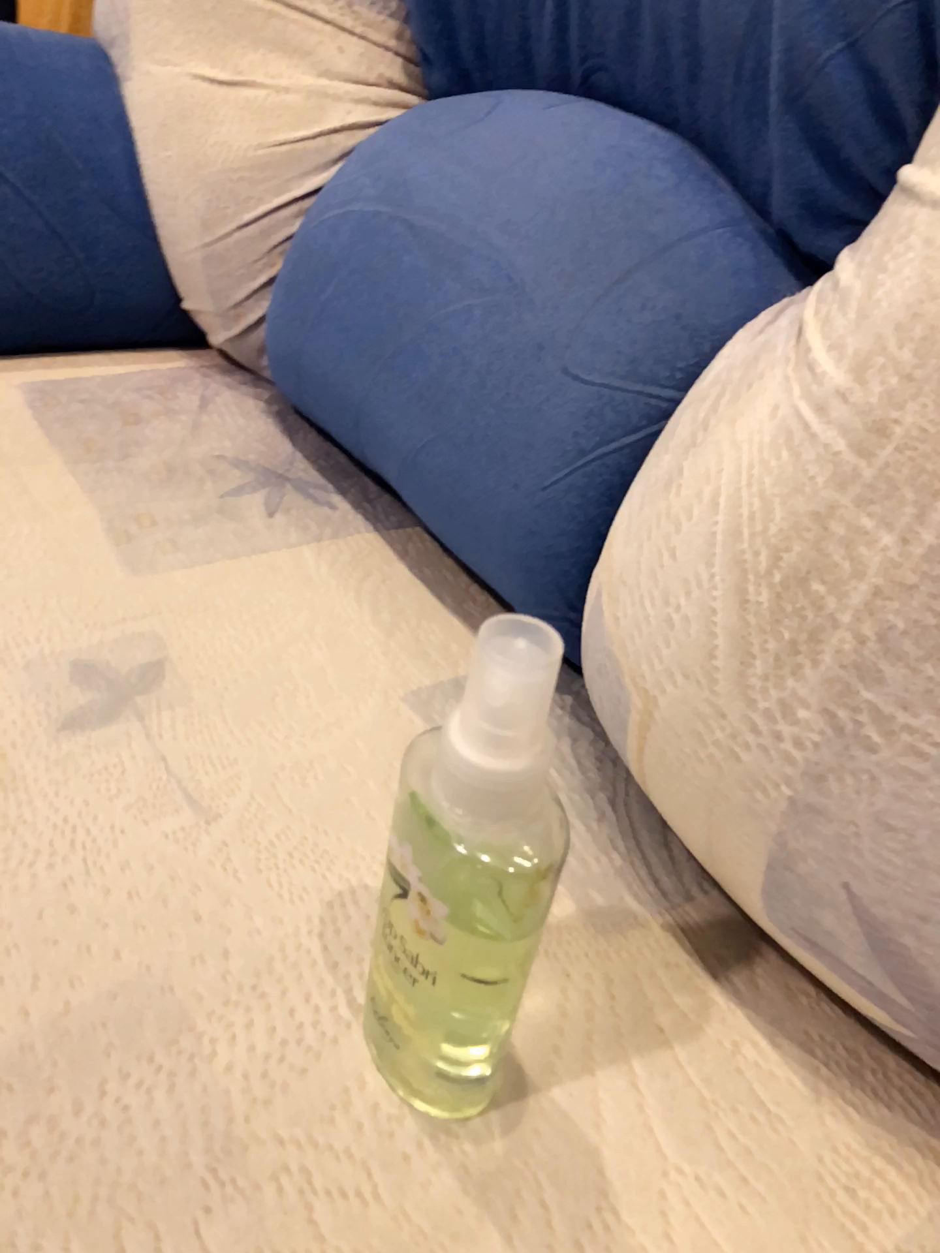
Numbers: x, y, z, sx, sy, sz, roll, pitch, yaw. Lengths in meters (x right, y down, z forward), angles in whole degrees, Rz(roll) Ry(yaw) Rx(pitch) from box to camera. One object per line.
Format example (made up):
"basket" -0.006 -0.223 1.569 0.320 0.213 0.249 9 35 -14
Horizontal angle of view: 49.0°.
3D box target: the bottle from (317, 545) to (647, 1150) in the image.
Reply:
"bottle" -0.005 0.060 0.265 0.037 0.149 0.058 -13 40 -31
